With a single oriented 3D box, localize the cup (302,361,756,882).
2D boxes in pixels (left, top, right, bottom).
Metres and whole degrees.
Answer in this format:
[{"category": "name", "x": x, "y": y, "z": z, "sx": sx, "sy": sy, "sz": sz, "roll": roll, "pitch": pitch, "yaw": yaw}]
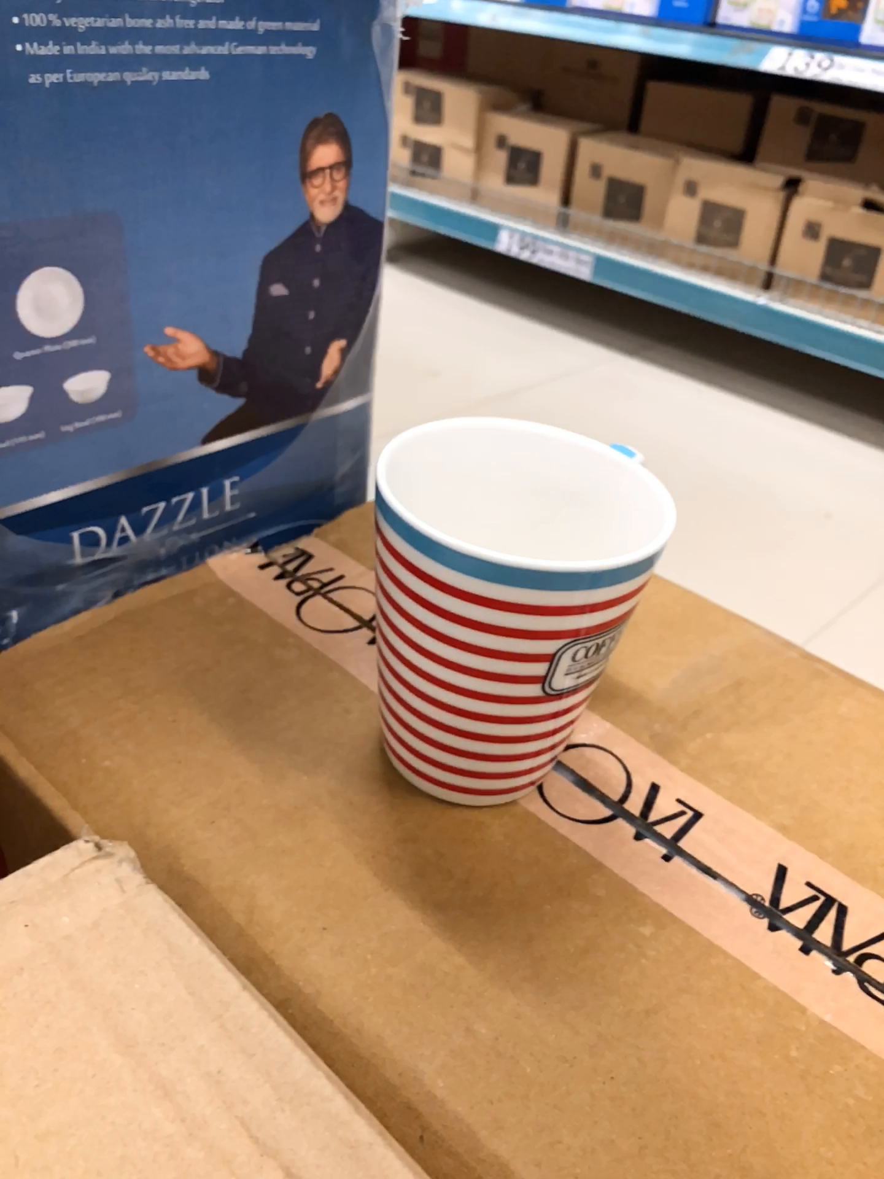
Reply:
[{"category": "cup", "x": 0.027, "y": 0.001, "z": 0.310, "sx": 0.090, "sy": 0.099, "sz": 0.111, "roll": 22, "pitch": 36, "yaw": 24}]
